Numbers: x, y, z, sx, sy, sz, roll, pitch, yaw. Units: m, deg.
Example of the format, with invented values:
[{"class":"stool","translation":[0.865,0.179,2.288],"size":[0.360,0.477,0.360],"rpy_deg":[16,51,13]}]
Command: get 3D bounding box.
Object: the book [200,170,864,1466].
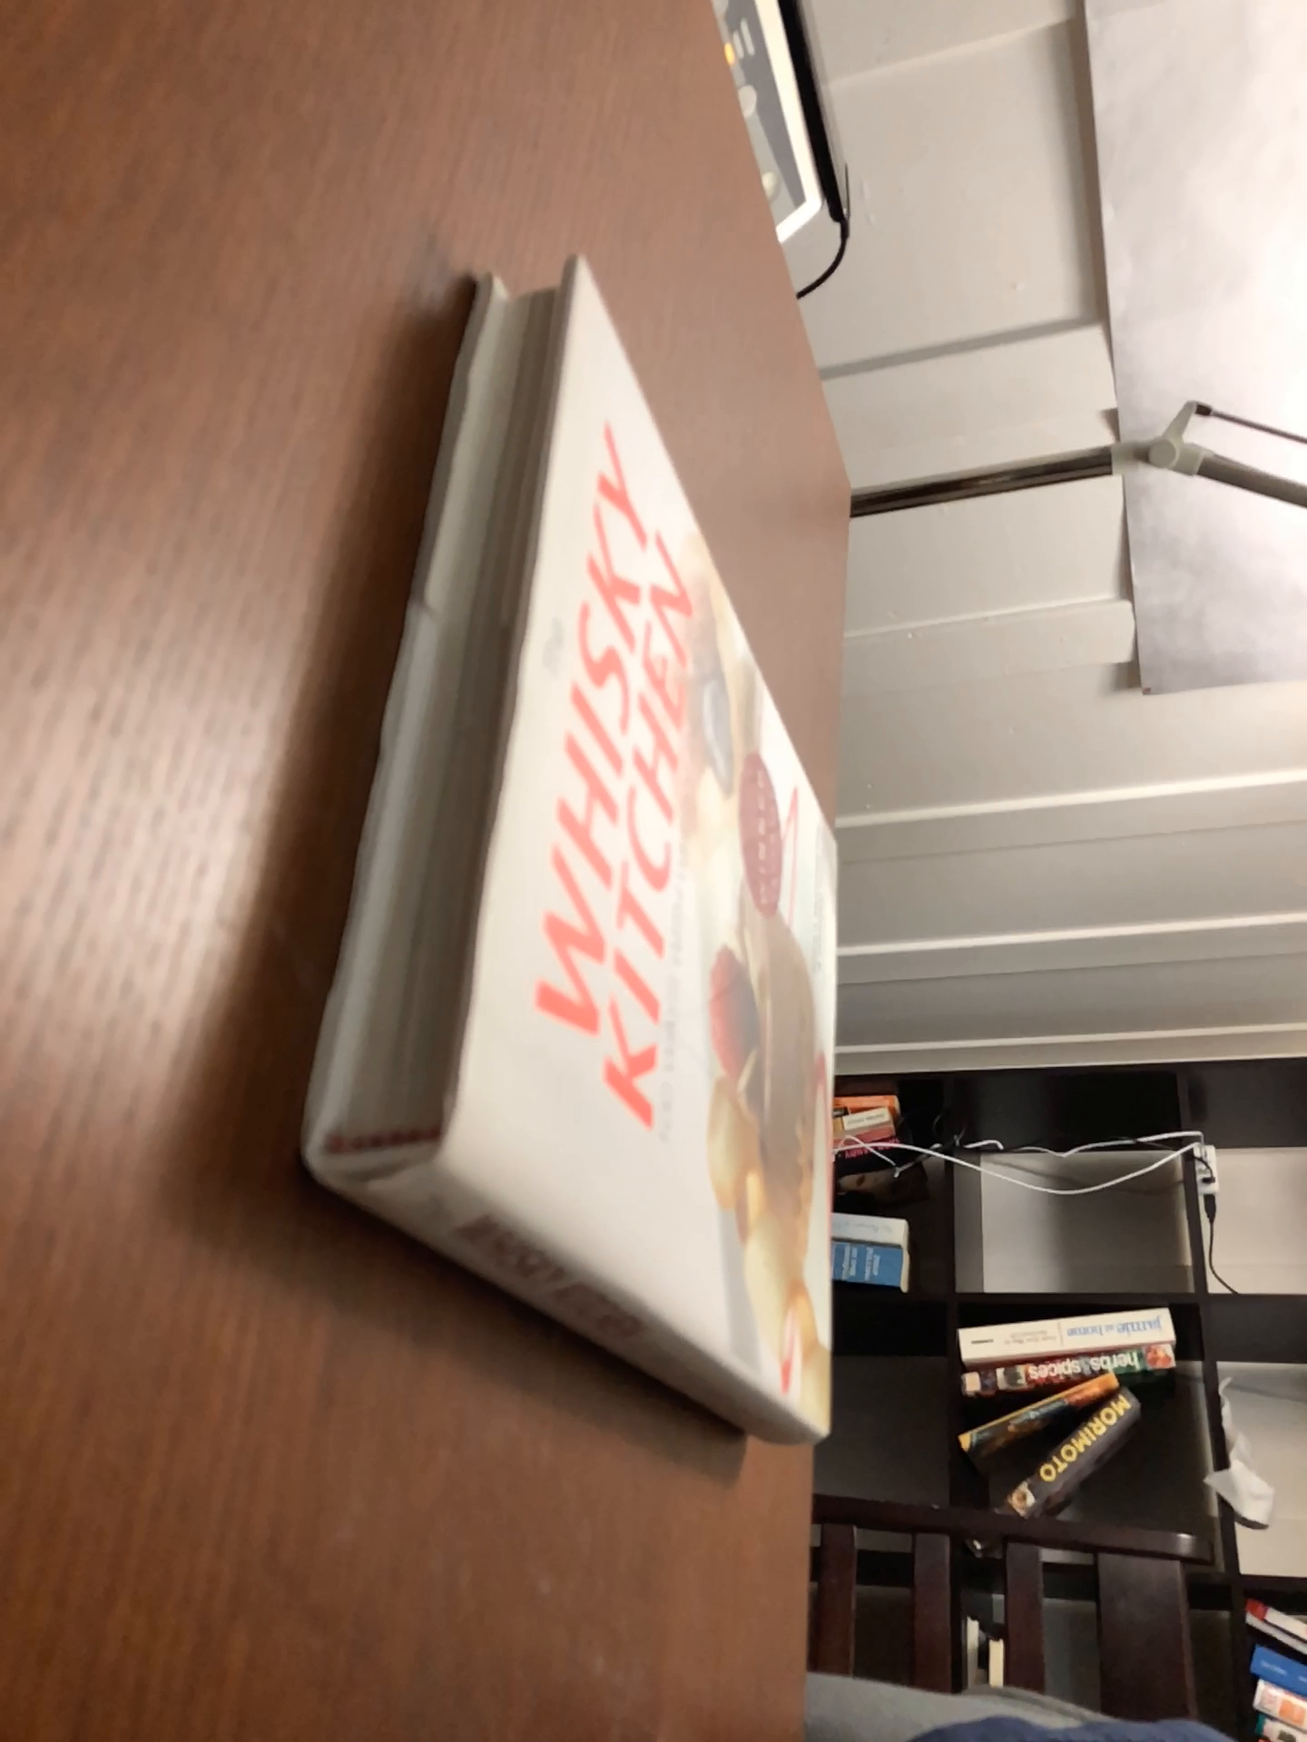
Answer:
[{"class":"book","translation":[0.006,0.014,0.365],"size":[0.271,0.040,0.220],"rpy_deg":[56,33,-55]}]
